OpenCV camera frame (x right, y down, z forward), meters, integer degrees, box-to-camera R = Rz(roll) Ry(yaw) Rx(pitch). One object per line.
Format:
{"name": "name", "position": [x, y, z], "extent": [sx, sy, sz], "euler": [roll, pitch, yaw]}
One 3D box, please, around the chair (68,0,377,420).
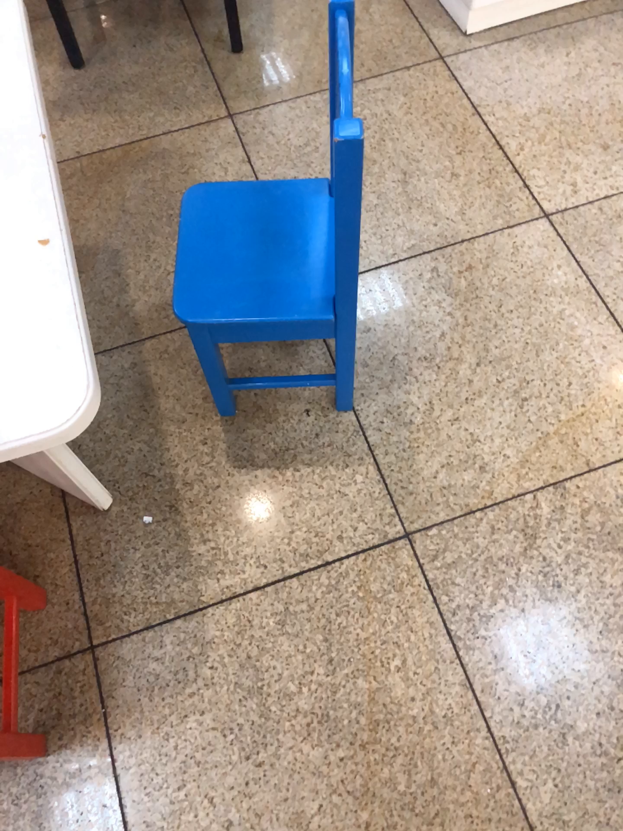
{"name": "chair", "position": [-0.087, -0.273, 1.082], "extent": [0.330, 0.649, 0.290], "euler": [-2, 63, 1]}
